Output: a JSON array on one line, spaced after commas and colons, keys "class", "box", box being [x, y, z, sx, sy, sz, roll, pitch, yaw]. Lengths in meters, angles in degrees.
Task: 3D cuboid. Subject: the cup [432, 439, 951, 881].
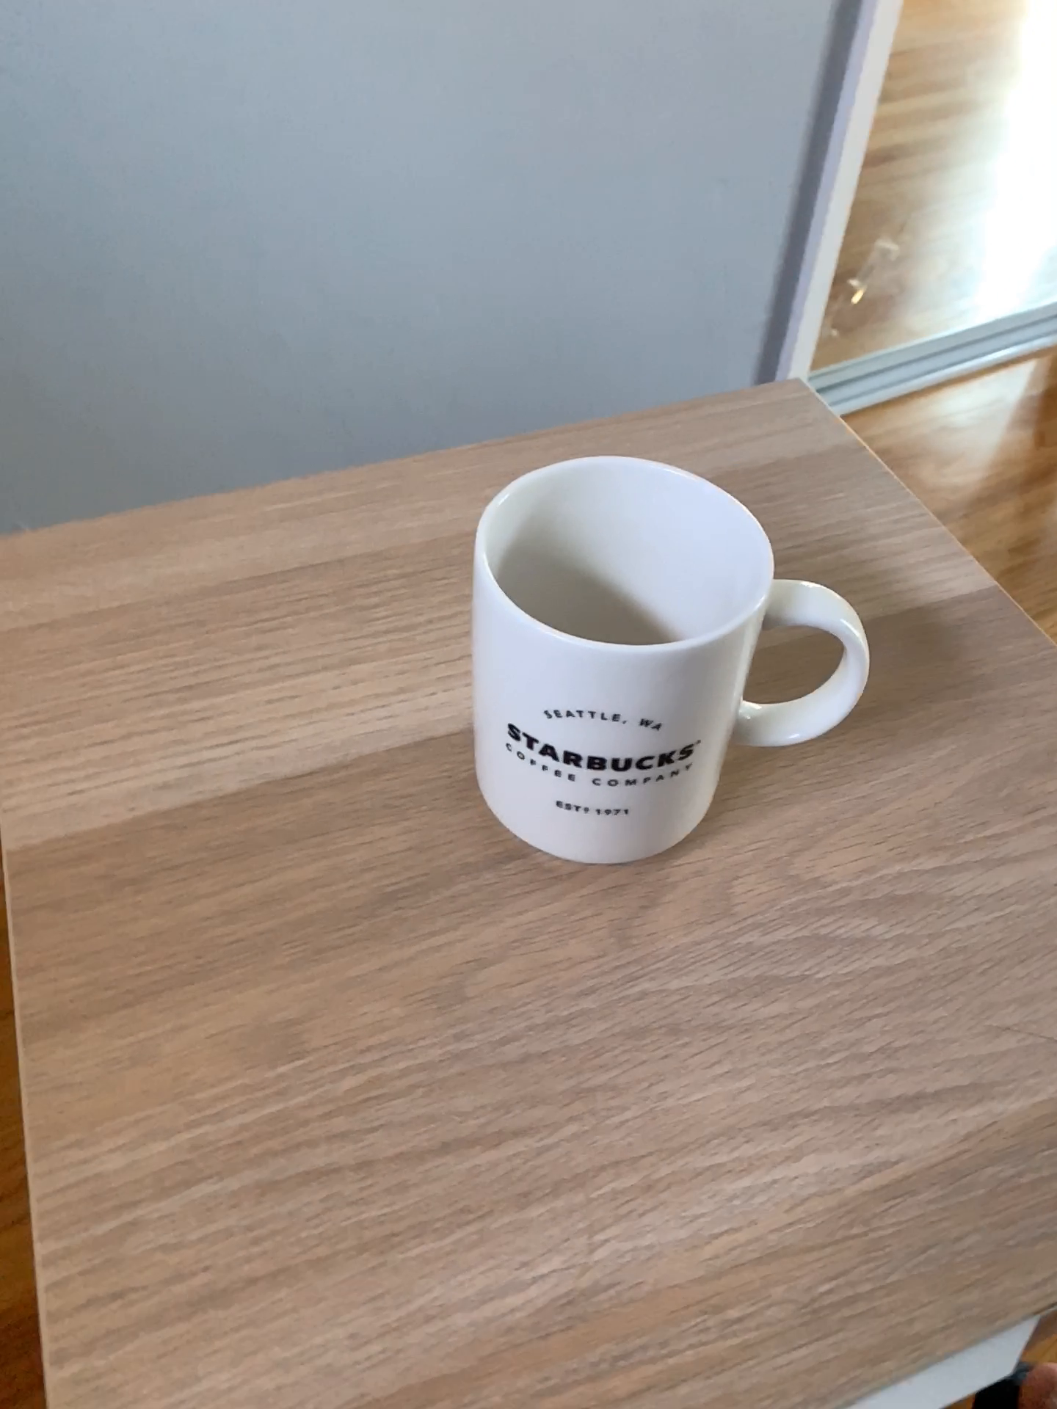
[{"class": "cup", "box": [0.043, -0.015, 0.336, 0.130, 0.080, 0.100, 4, 48, 1]}]
